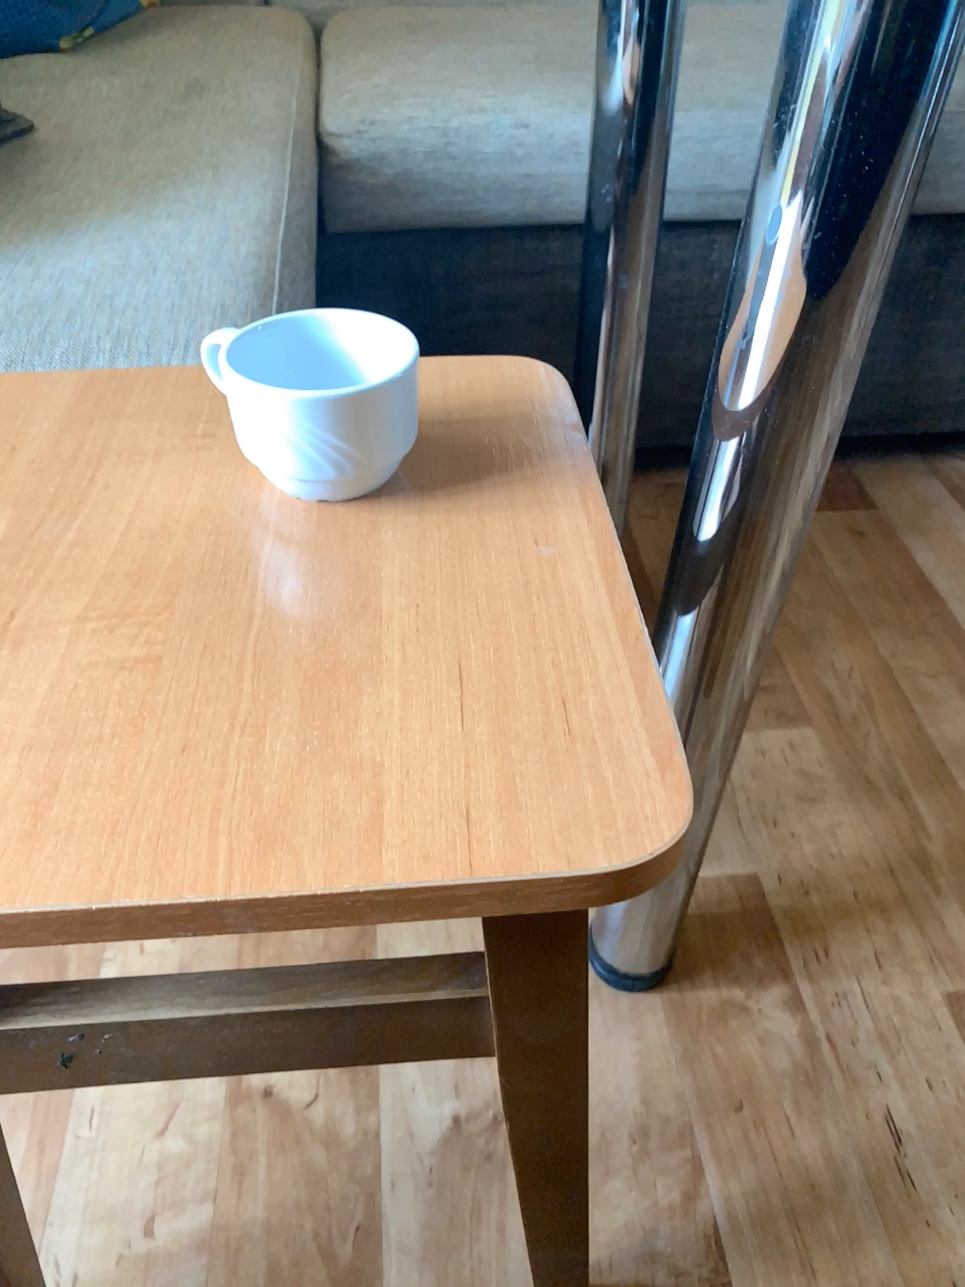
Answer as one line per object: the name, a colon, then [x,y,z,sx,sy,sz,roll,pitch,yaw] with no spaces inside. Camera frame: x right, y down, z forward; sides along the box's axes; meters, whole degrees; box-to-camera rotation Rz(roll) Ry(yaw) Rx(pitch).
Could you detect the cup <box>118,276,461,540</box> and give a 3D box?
cup: [-0.073,-0.097,0.392,0.100,0.050,0.080,24,46,26]
